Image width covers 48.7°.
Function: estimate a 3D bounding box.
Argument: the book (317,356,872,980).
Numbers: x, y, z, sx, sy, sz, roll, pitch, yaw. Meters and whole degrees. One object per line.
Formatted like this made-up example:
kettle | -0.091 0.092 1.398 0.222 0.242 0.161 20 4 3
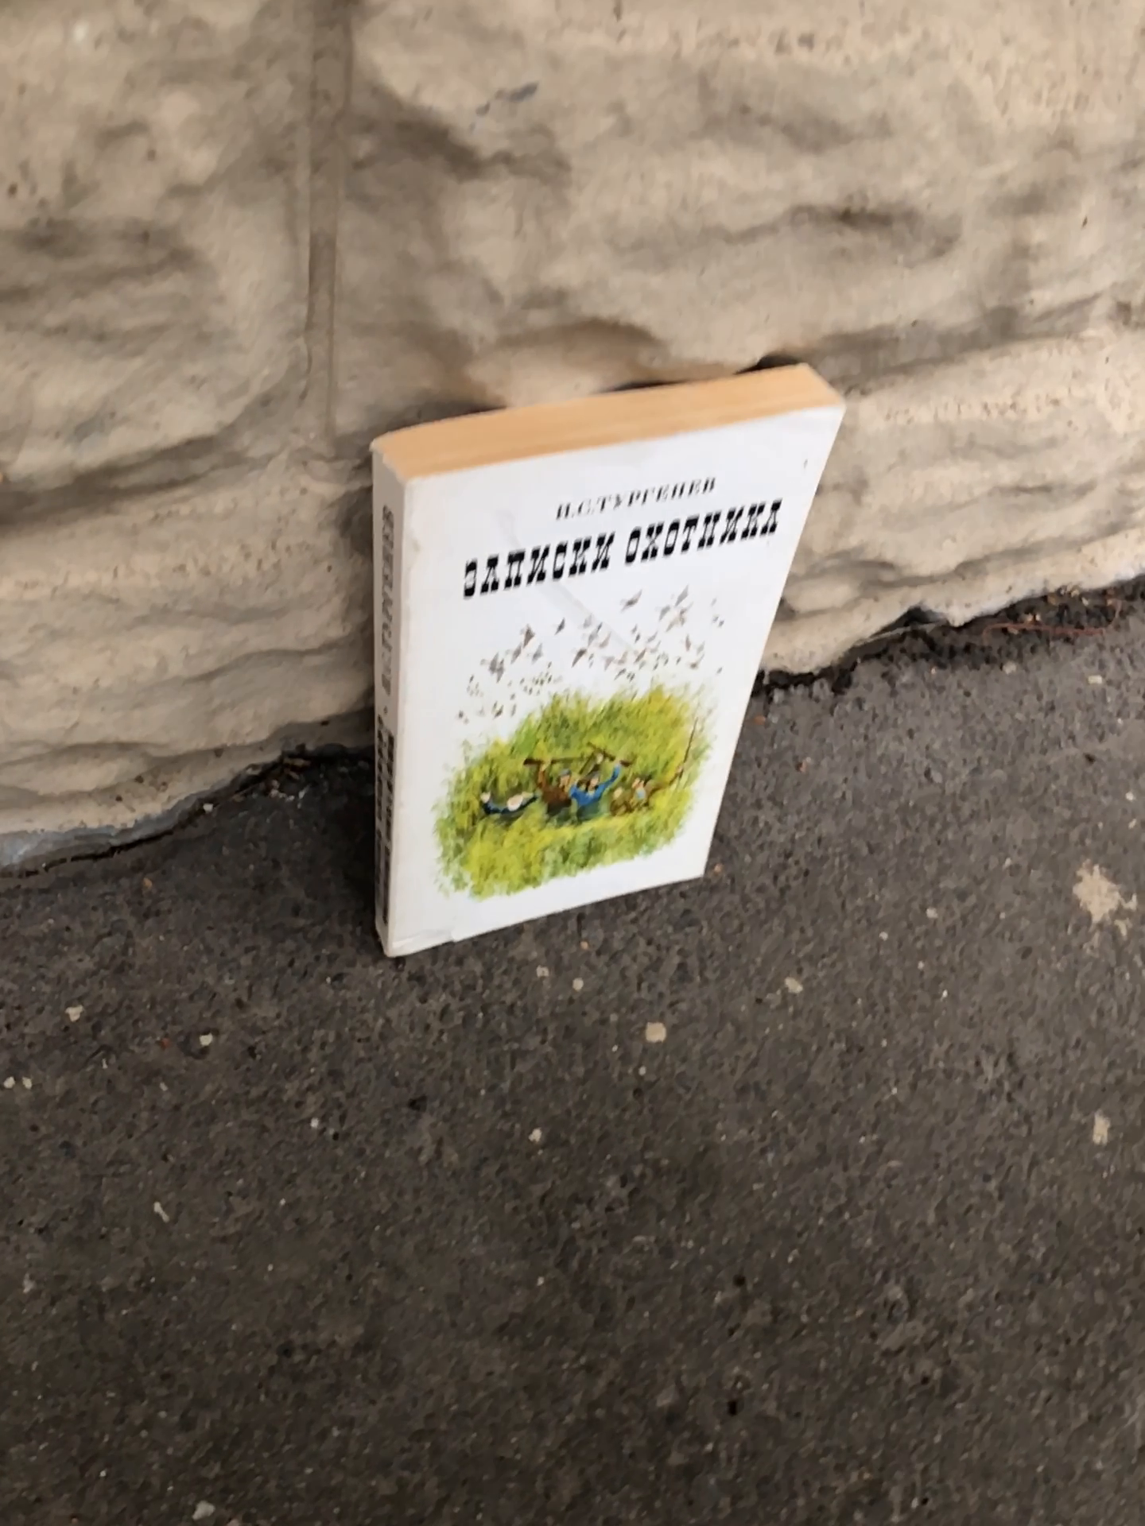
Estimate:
book | 0.002 -0.021 0.378 0.137 0.183 0.032 -14 48 -19
